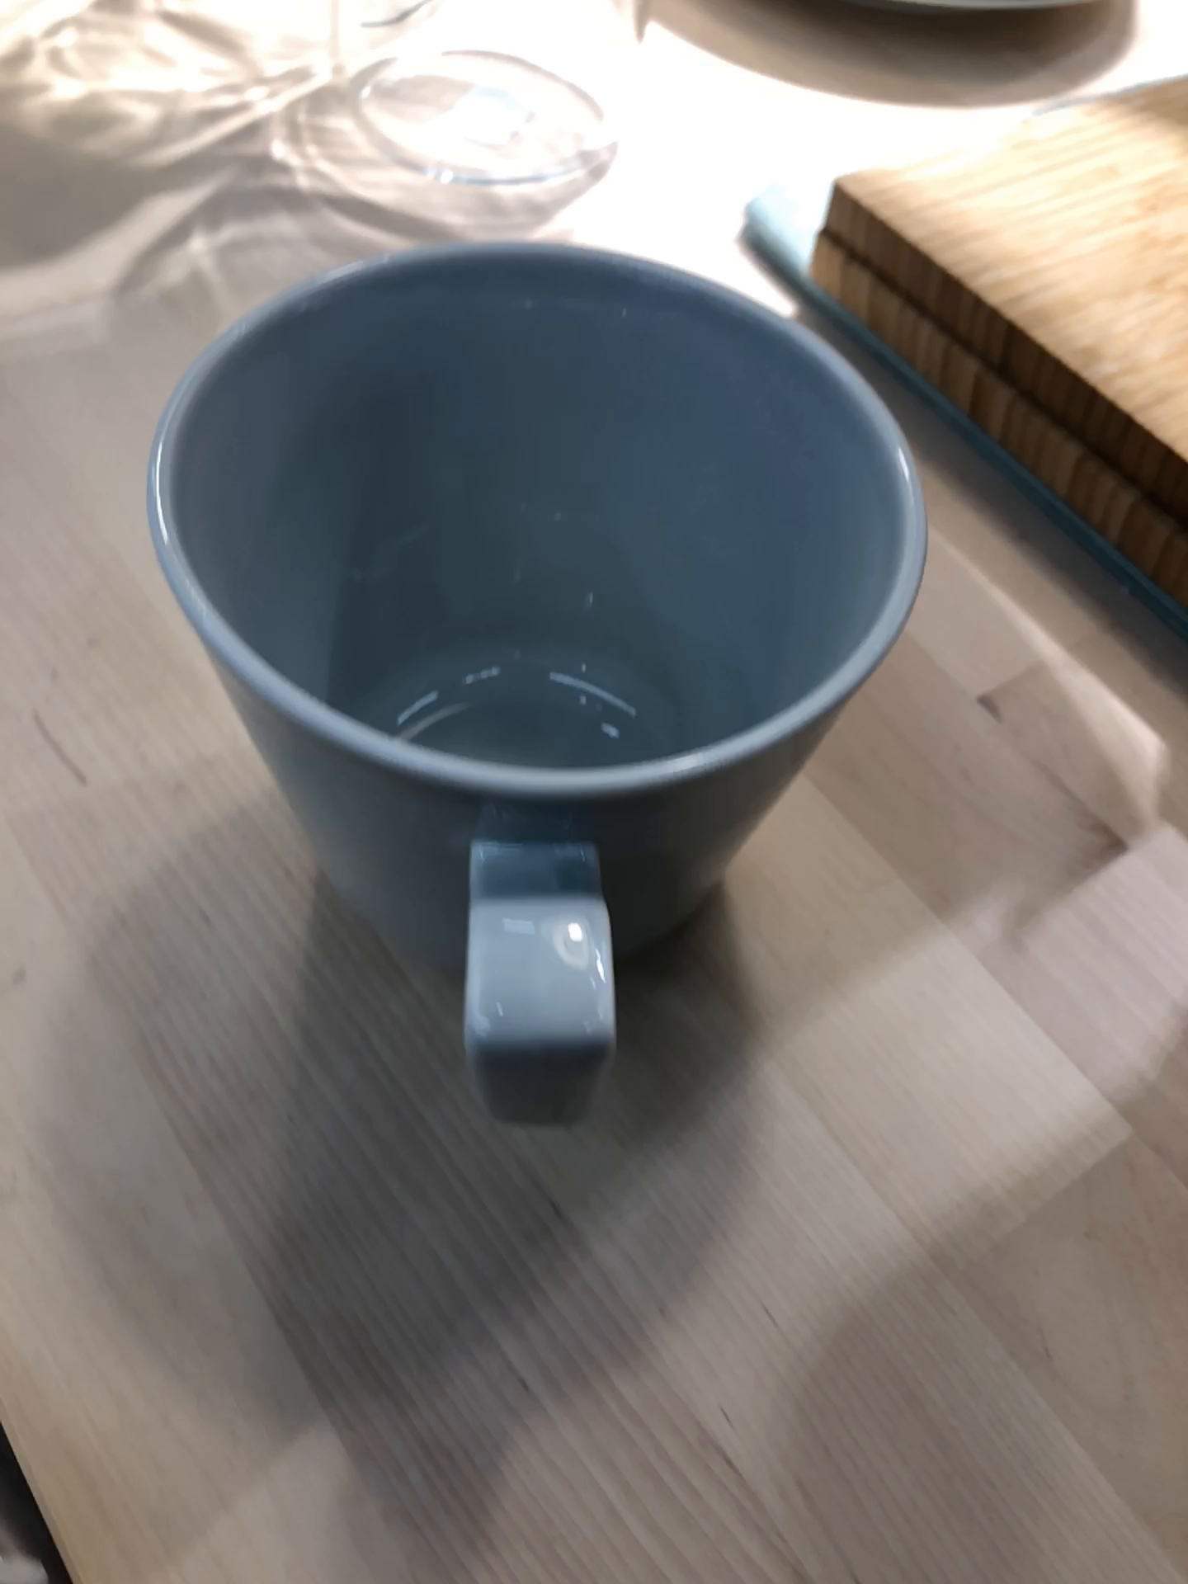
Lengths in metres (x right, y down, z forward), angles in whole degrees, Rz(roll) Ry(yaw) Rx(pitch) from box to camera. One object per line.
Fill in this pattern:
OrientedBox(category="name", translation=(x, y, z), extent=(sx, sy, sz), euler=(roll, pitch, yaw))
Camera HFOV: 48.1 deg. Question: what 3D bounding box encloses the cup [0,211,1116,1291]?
OrientedBox(category="cup", translation=(-0.006, -0.008, 0.203), extent=(0.110, 0.080, 0.141), euler=(2, 54, -4))
